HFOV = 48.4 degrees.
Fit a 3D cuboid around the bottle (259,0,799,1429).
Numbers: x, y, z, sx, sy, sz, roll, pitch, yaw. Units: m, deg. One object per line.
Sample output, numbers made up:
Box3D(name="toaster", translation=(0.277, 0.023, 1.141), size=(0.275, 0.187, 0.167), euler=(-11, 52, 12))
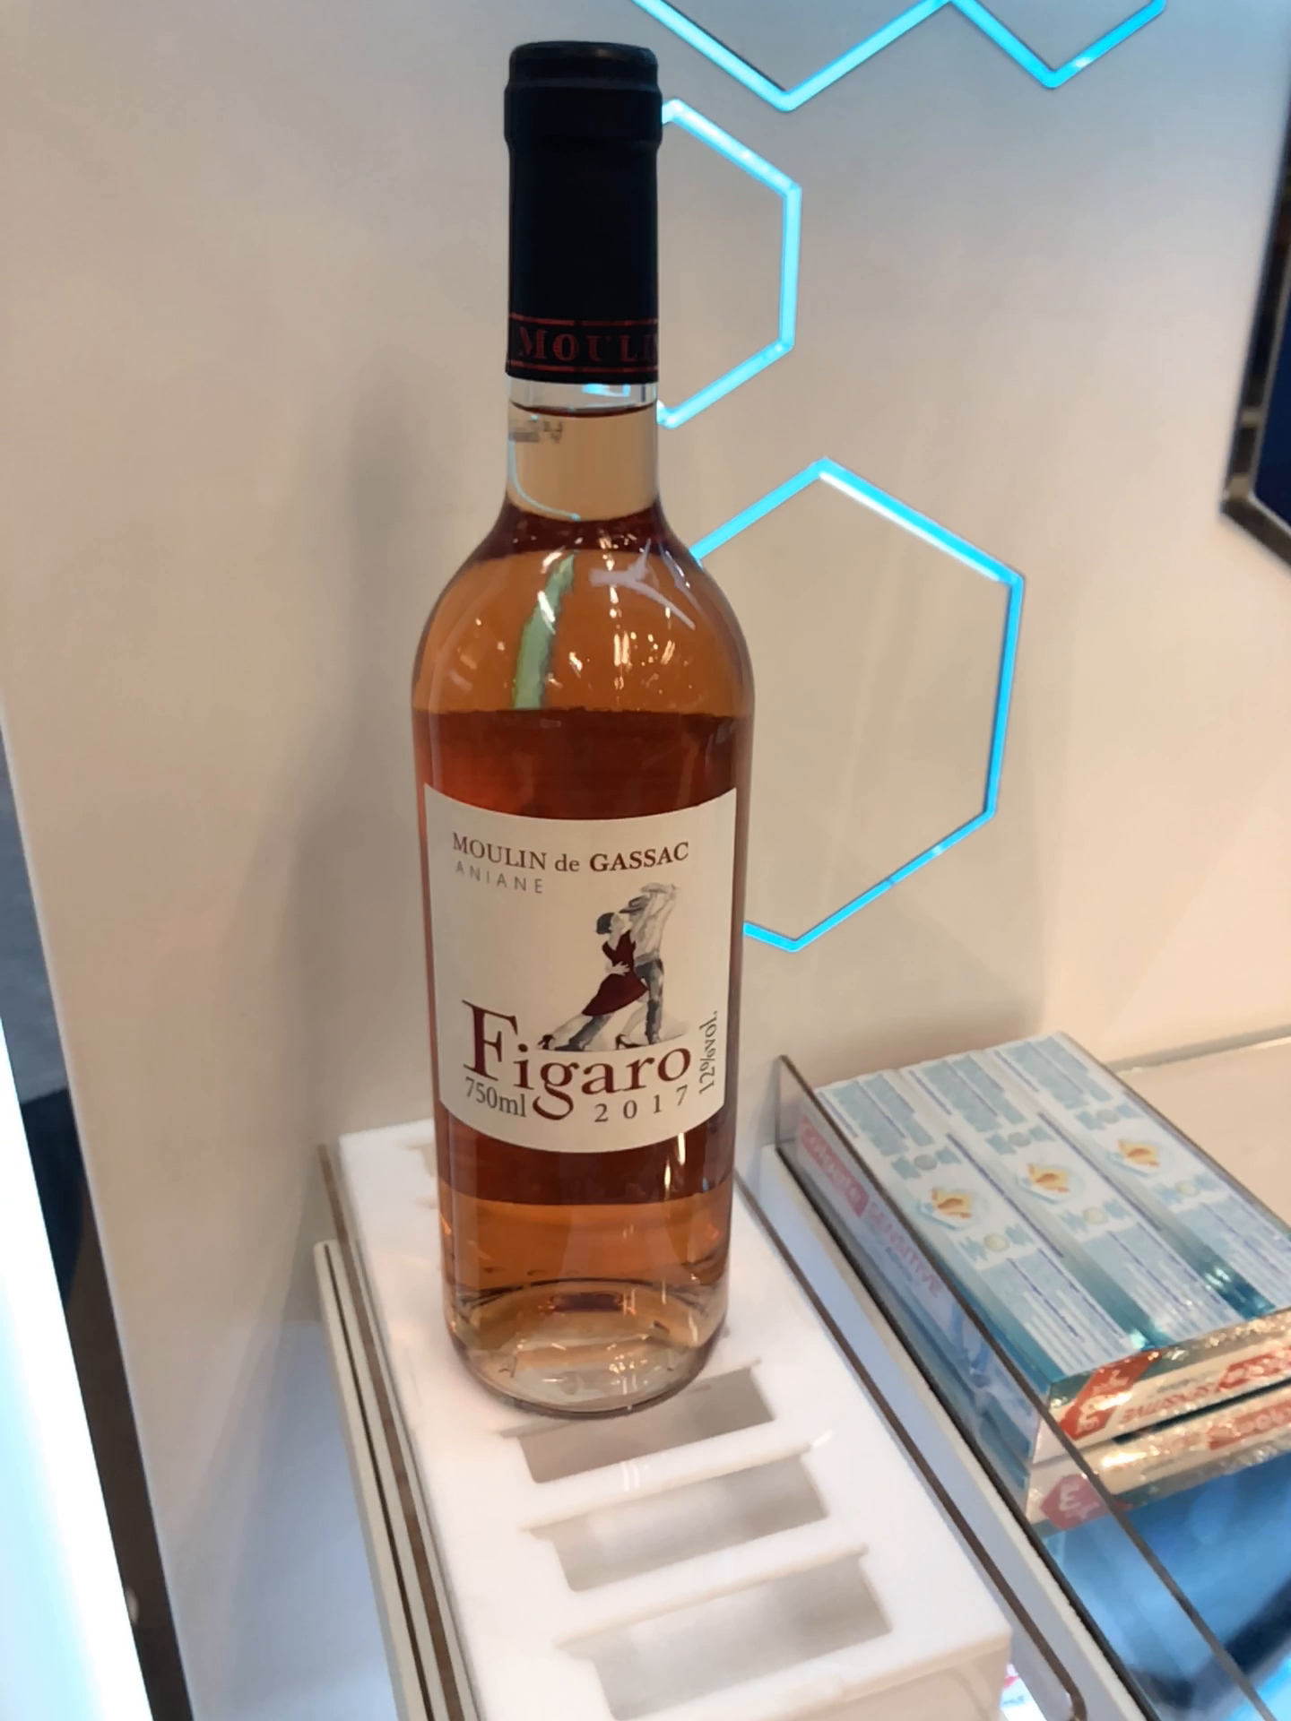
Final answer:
Box3D(name="bottle", translation=(-0.020, -0.018, 0.340), size=(0.090, 0.318, 0.081), euler=(0, 23, 0))
